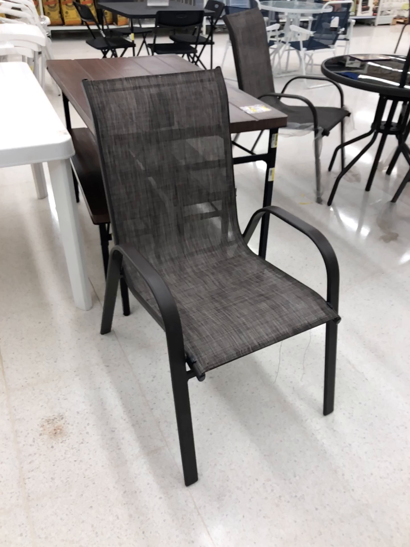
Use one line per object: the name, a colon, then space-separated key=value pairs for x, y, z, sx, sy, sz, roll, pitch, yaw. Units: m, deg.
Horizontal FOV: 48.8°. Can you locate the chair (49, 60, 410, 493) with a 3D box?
chair: x=0.021 y=-0.053 z=1.280 sx=0.601 sy=0.854 sz=0.714 roll=-17 pitch=39 yaw=-24
